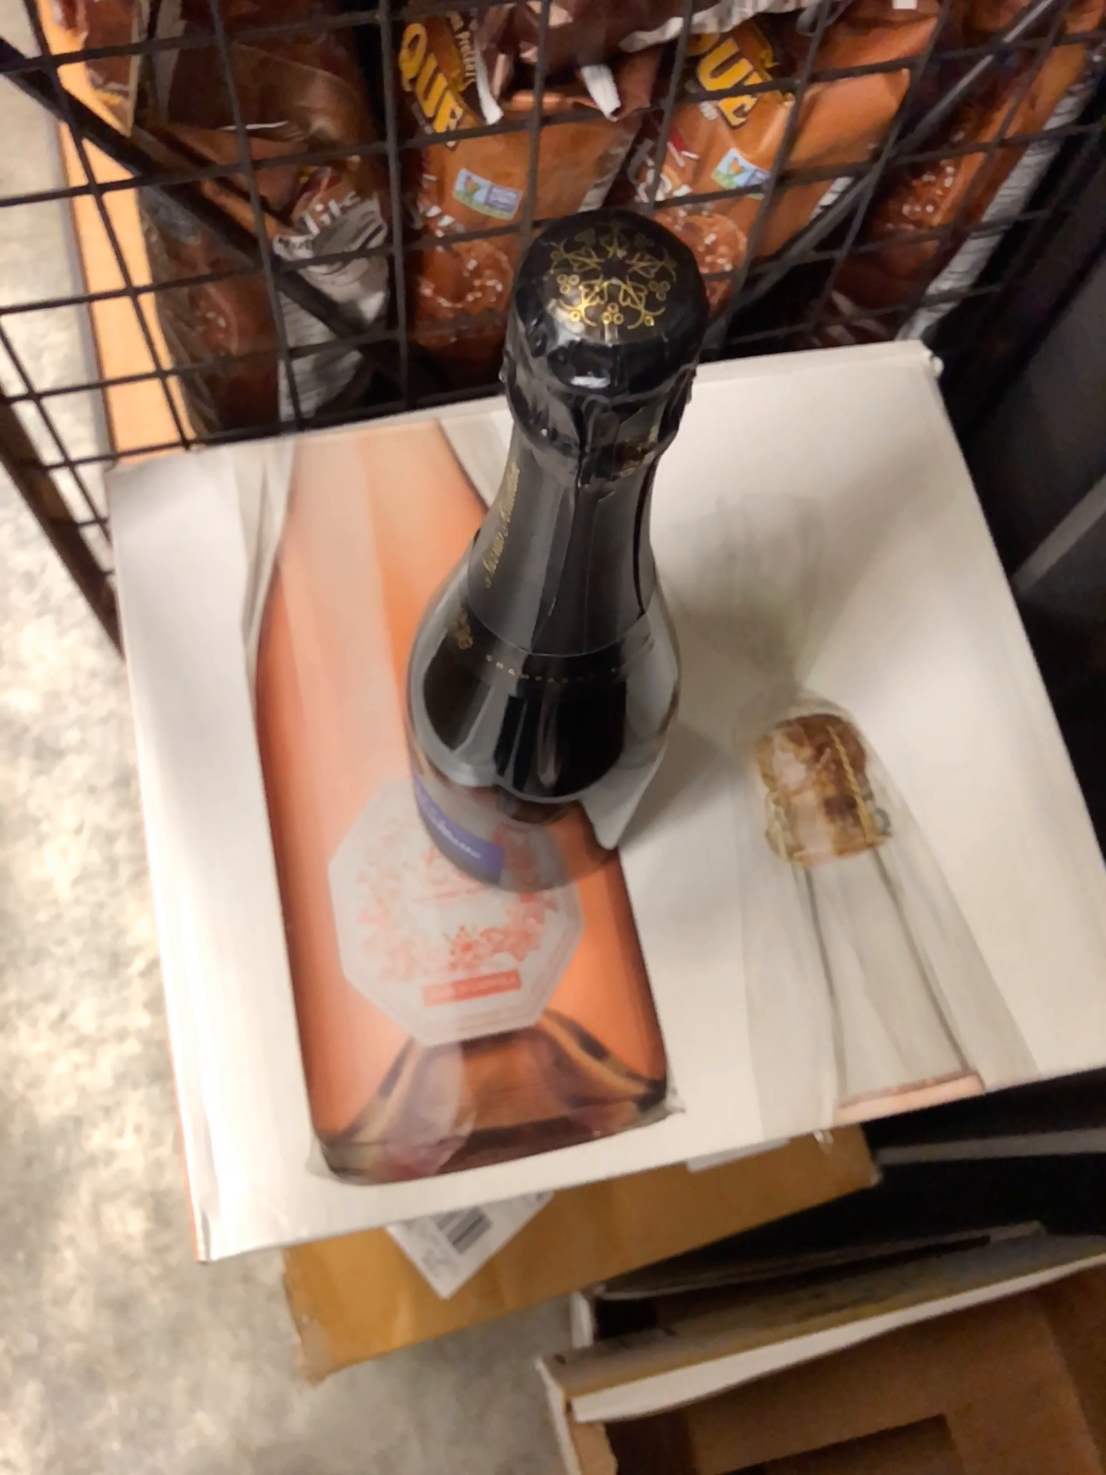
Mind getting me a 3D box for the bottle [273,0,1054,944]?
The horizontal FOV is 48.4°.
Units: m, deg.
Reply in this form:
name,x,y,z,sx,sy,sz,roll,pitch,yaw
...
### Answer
name,x,y,z,sx,sy,sz,roll,pitch,yaw
bottle,0.002,-0.032,0.331,0.090,0.300,0.100,-18,74,-11
